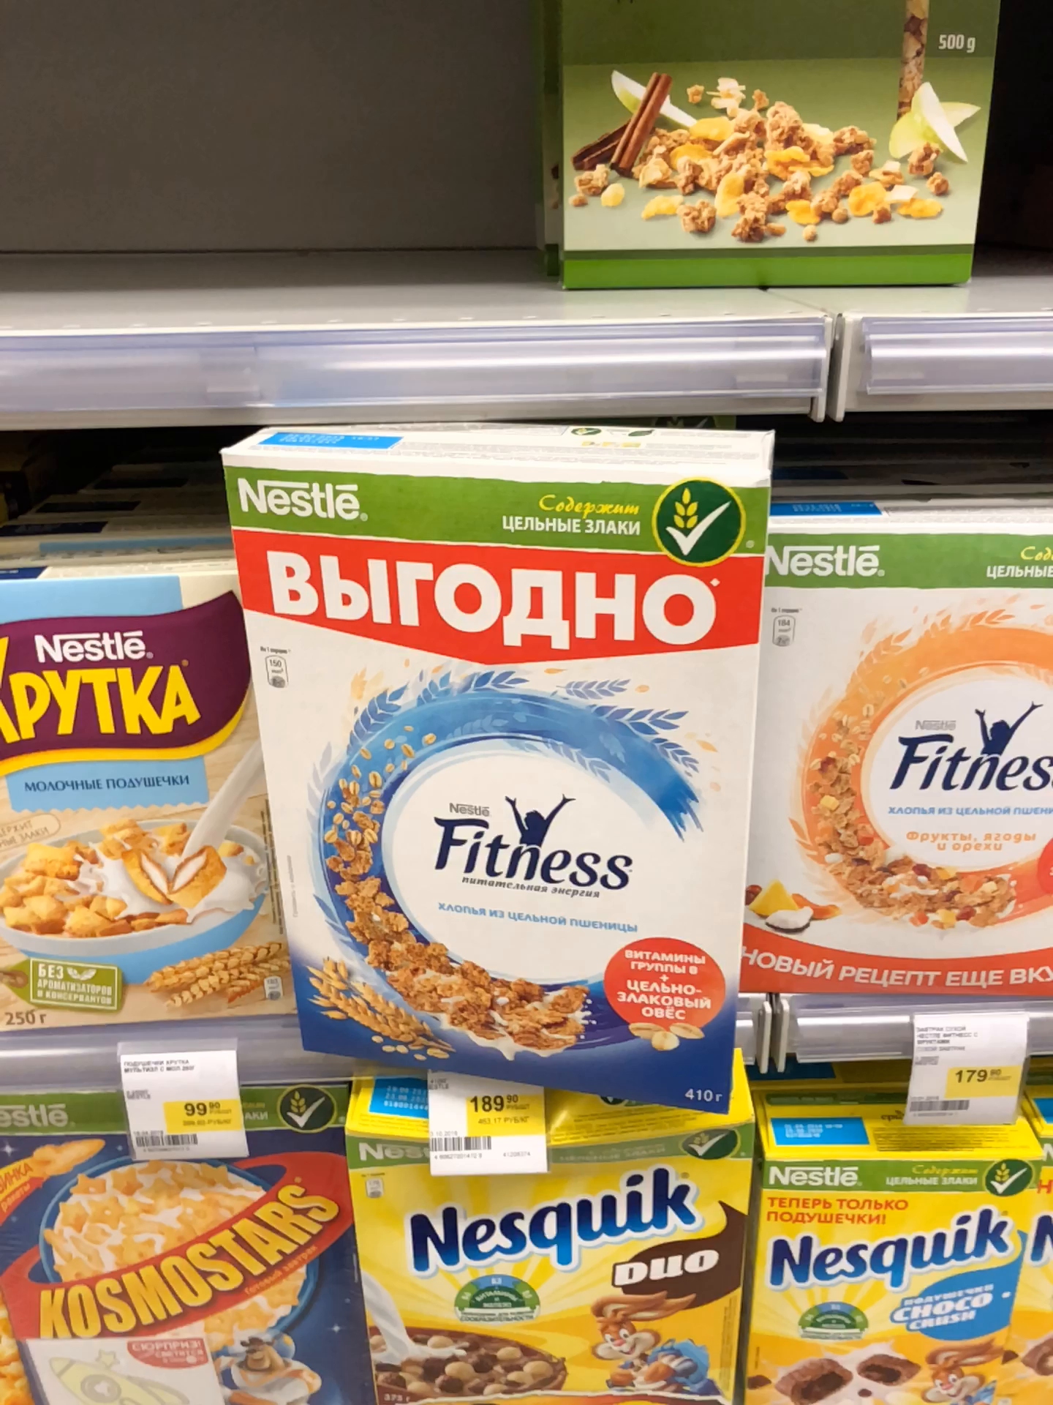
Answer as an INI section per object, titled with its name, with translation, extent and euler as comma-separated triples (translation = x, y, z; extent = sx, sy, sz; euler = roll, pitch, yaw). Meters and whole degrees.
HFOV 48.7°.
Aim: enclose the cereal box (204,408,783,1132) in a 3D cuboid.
[cereal box]
translation = -0.007, 0.033, 0.482
extent = 0.200, 0.288, 0.060
euler = 5, 26, 12
